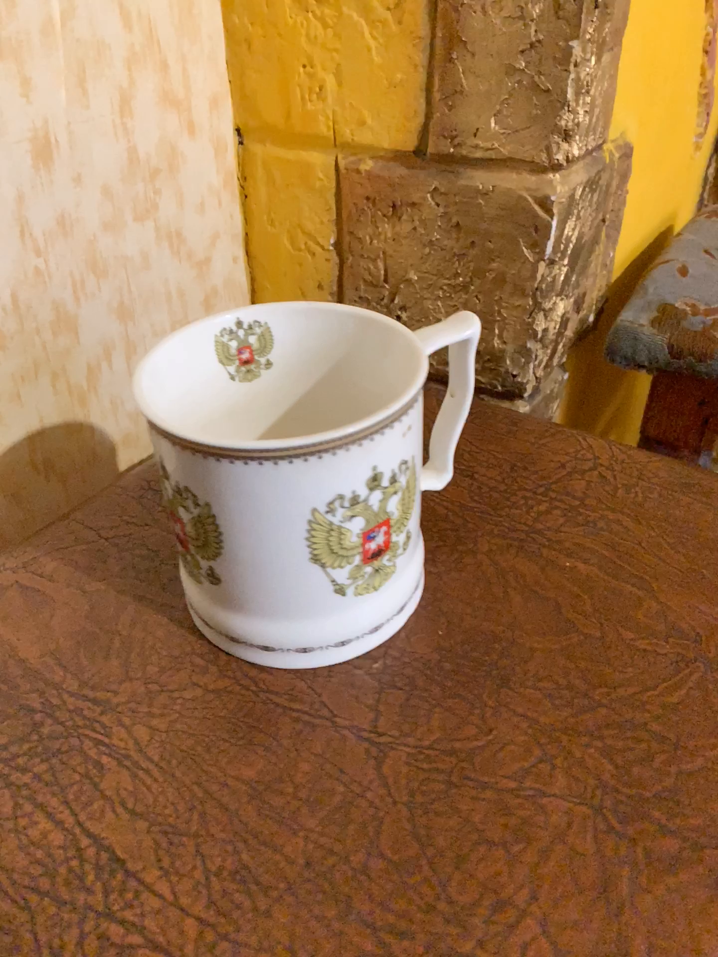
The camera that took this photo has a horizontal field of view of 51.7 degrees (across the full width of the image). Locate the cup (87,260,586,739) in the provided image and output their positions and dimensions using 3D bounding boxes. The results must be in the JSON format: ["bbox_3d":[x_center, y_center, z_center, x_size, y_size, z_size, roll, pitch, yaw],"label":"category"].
[{"bbox_3d":[-0.007,-0.005,0.265,0.127,0.097,0.100,-23,40,-30],"label":"cup"}]
